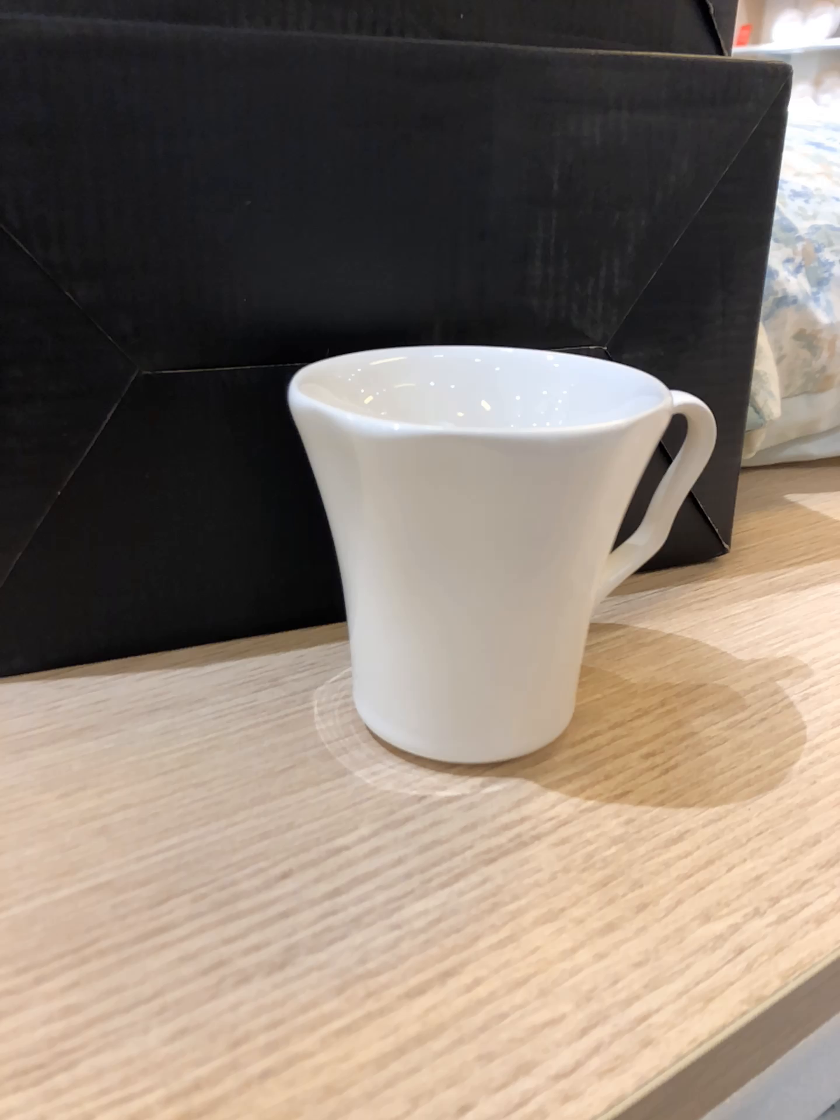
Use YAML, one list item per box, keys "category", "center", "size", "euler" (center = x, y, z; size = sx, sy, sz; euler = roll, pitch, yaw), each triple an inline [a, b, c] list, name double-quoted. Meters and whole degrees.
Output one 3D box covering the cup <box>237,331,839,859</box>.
- category: "cup"
  center: [0.024, -0.003, 0.217]
  size: [0.110, 0.079, 0.080]
  euler: [-10, 25, -24]
